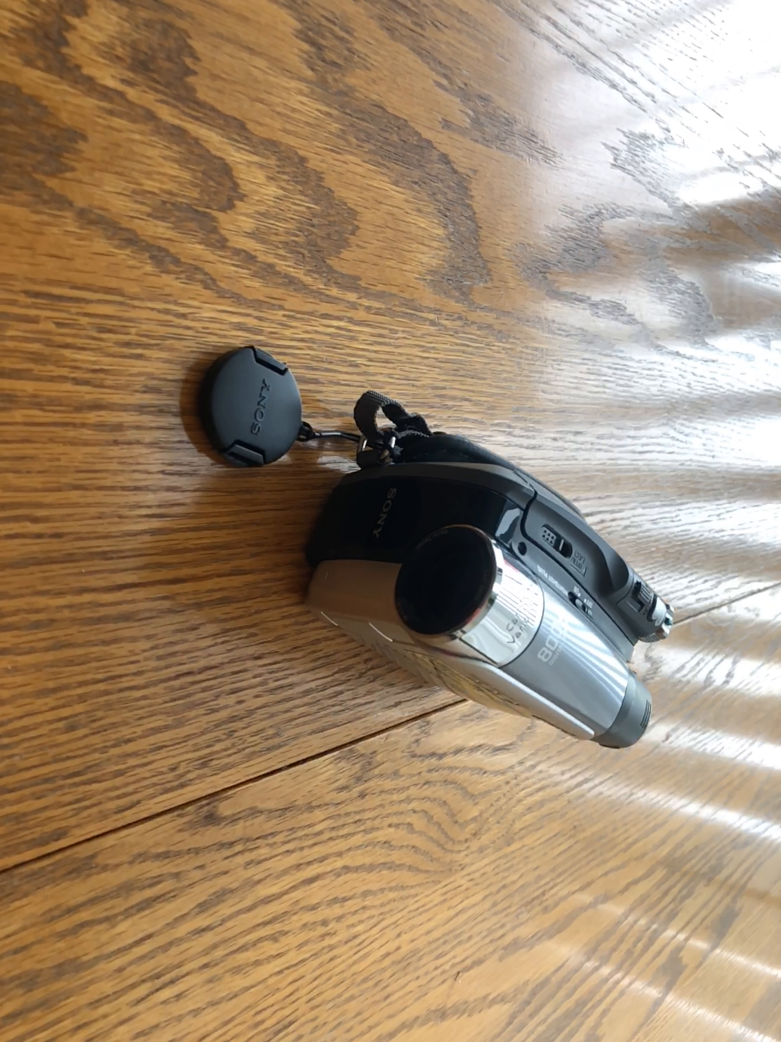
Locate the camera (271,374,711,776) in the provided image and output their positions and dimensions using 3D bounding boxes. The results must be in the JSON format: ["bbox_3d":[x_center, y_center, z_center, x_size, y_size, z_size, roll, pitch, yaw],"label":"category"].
[{"bbox_3d":[0.038,0.020,0.276,0.112,0.072,0.080,36,67,-43],"label":"camera"}]
